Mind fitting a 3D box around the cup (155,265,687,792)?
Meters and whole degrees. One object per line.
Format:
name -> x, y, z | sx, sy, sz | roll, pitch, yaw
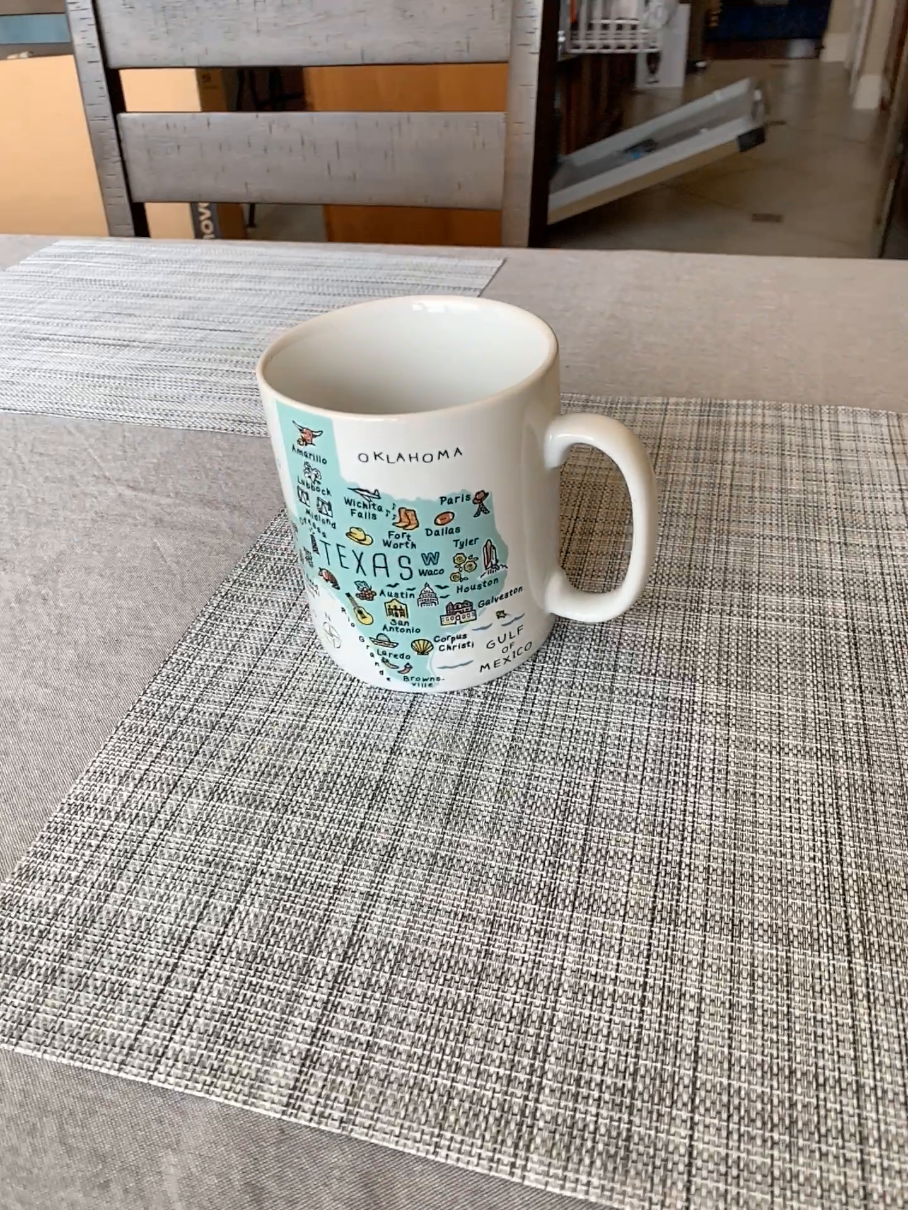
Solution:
cup -> -0.008, -0.038, 0.370 | 0.151, 0.136, 0.111 | 21, 44, 28
